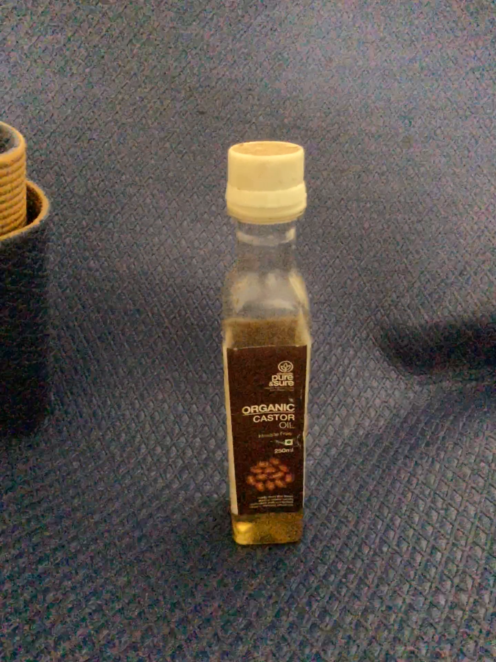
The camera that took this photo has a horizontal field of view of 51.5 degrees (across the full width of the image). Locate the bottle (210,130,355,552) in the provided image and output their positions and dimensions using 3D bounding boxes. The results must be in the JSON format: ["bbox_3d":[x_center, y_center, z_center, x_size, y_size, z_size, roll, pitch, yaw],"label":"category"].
[{"bbox_3d":[0.013,0.014,0.245,0.050,0.198,0.050,-1,28,0],"label":"bottle"}]
